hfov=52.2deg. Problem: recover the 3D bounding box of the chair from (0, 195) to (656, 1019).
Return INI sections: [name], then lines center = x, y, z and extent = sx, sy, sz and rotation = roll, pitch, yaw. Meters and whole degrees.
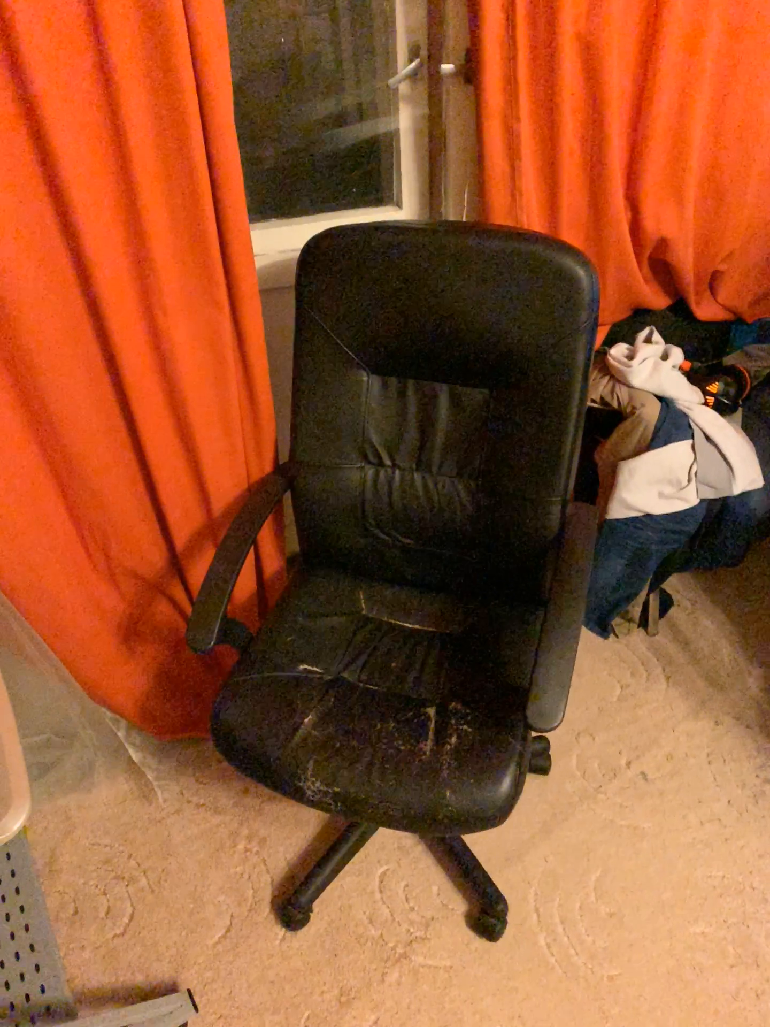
[chair]
center = -0.009, 0.158, 1.376
extent = 0.710, 1.124, 0.744
rotation = 9, 41, 15
